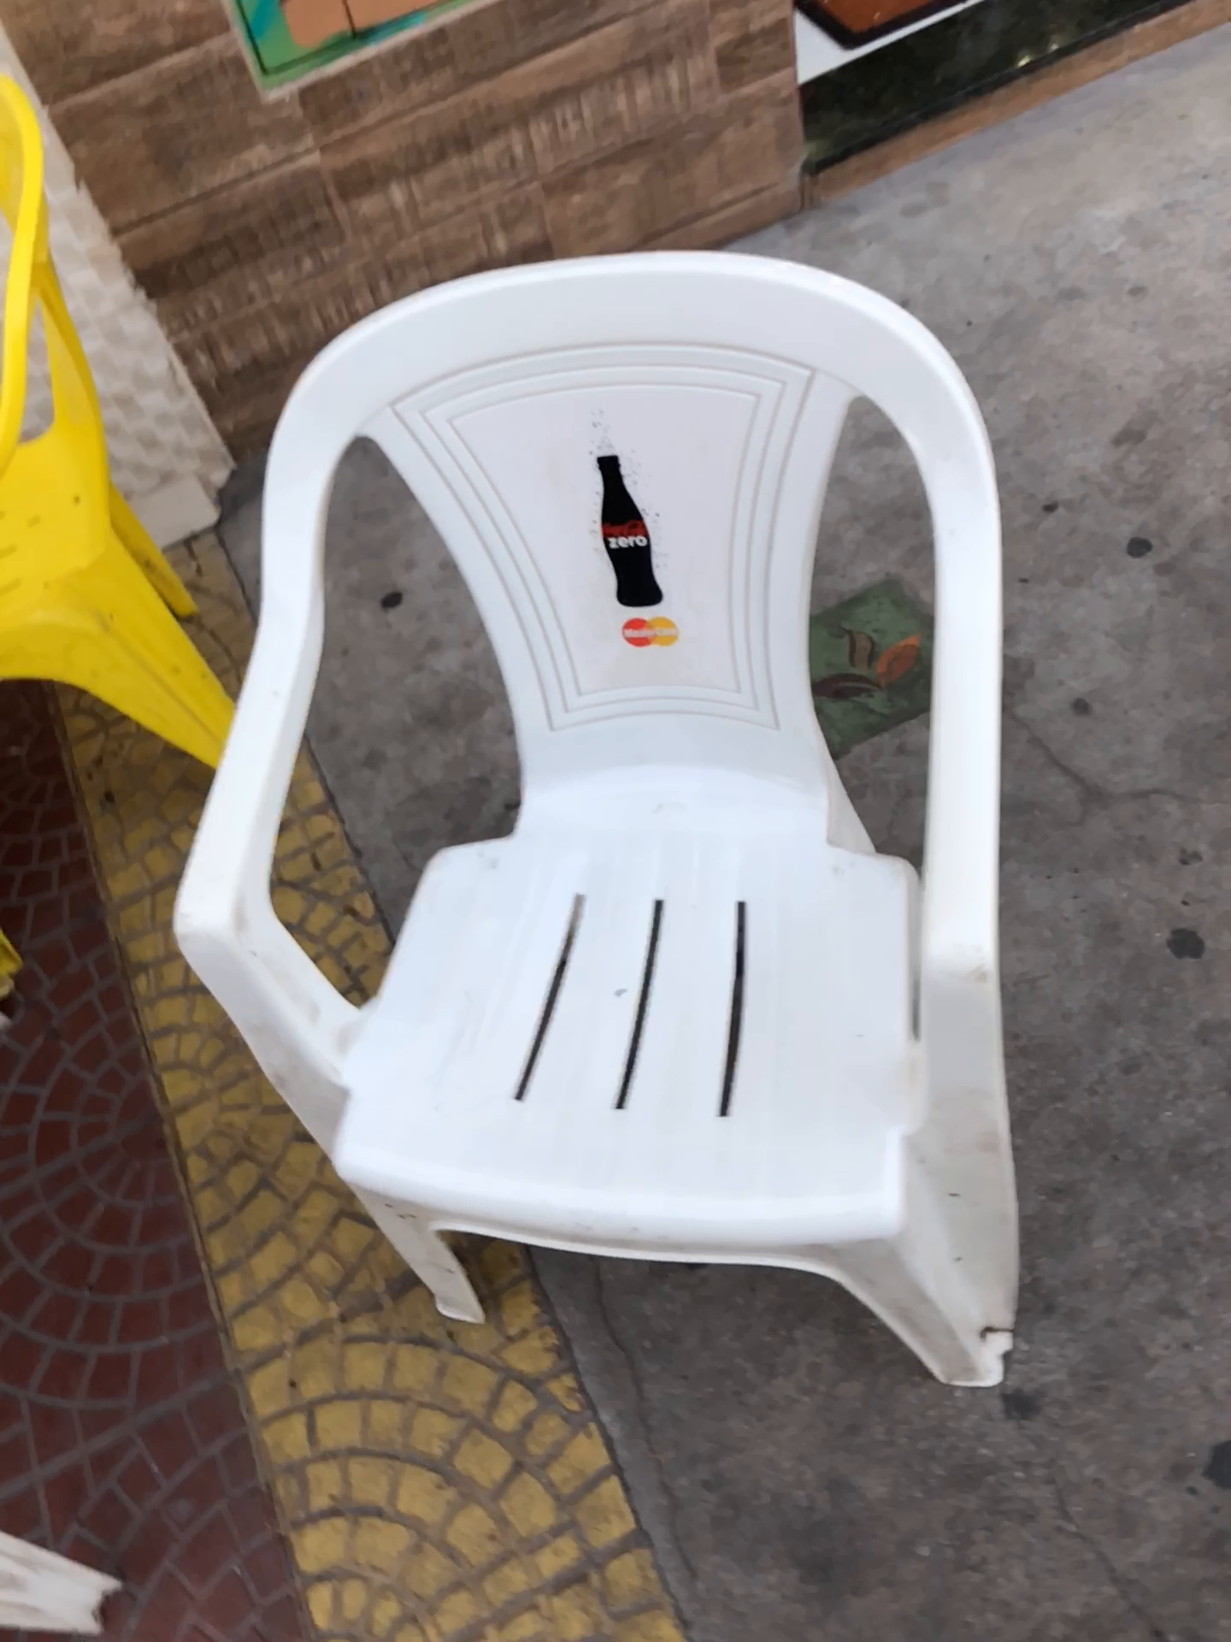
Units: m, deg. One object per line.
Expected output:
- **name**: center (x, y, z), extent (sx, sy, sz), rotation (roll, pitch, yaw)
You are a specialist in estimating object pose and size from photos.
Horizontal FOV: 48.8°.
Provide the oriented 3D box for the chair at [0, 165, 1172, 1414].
- **chair**: center (0.016, 0.037, 1.038), extent (0.640, 0.746, 0.553), rotation (2, 56, 15)
